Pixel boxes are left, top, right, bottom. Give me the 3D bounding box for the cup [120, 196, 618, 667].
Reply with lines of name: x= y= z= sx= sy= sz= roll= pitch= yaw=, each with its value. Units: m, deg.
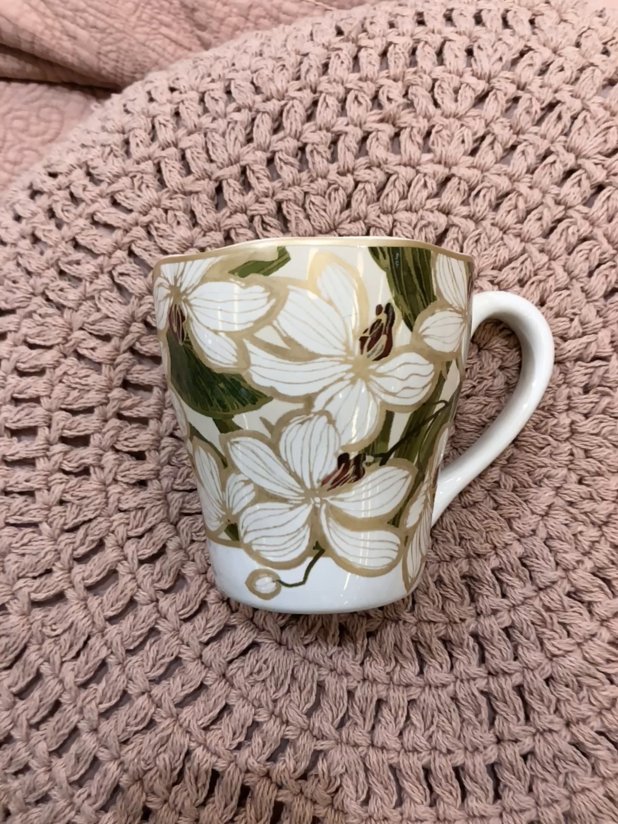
cup: x=0.018 y=0.001 z=0.233 sx=0.140 sy=0.090 sz=0.120 roll=-3 pitch=93 yaw=-8
